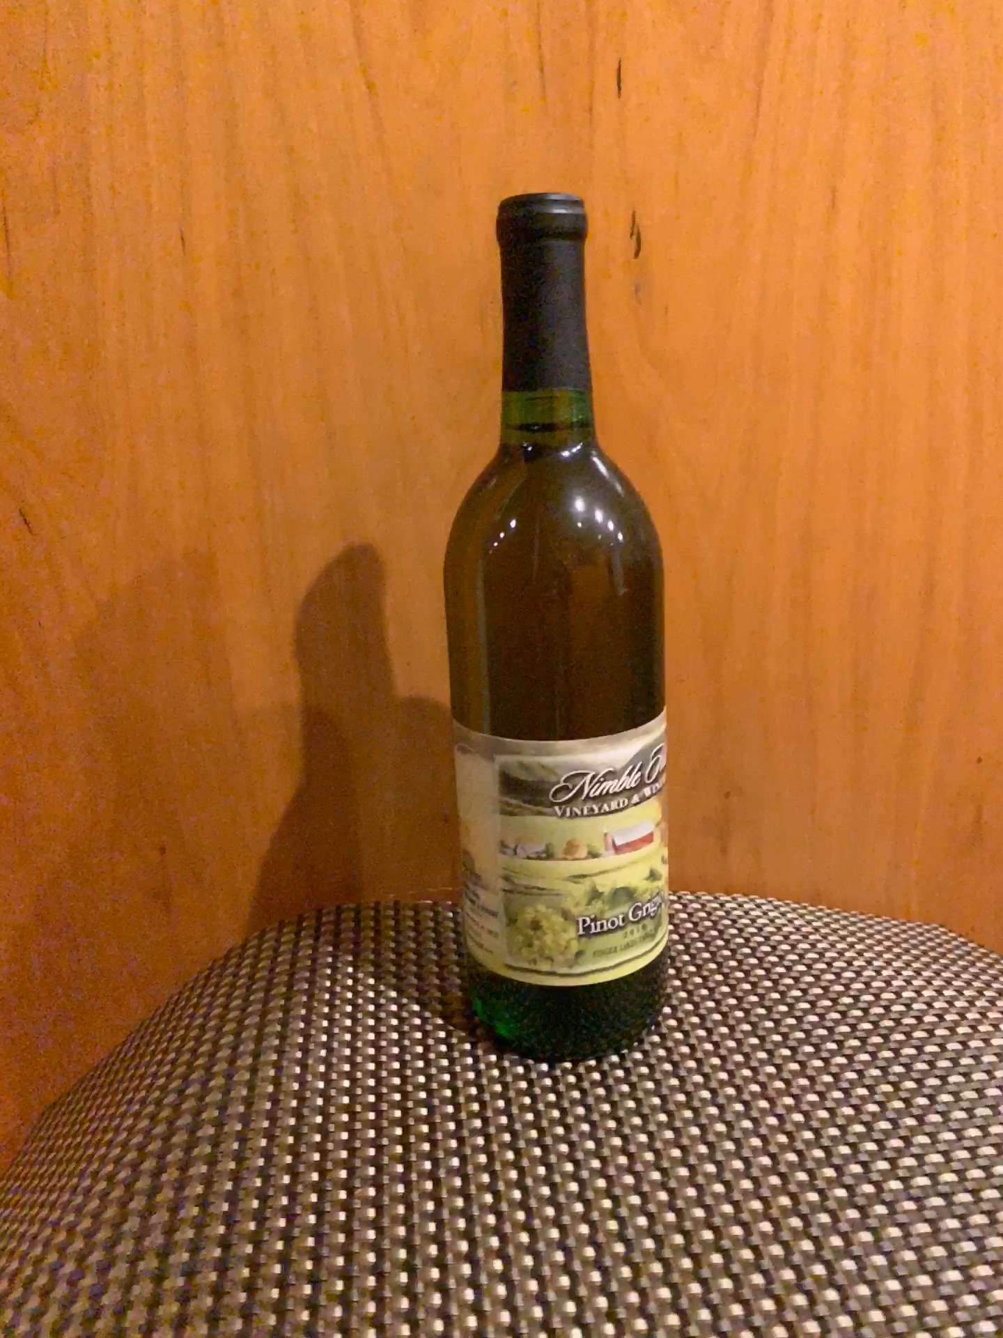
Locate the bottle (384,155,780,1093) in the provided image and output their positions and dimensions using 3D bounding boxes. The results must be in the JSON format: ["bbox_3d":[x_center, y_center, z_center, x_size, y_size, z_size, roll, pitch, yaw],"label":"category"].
[{"bbox_3d":[0.025,-0.013,0.342,0.090,0.269,0.080,-9,17,-22],"label":"bottle"}]
